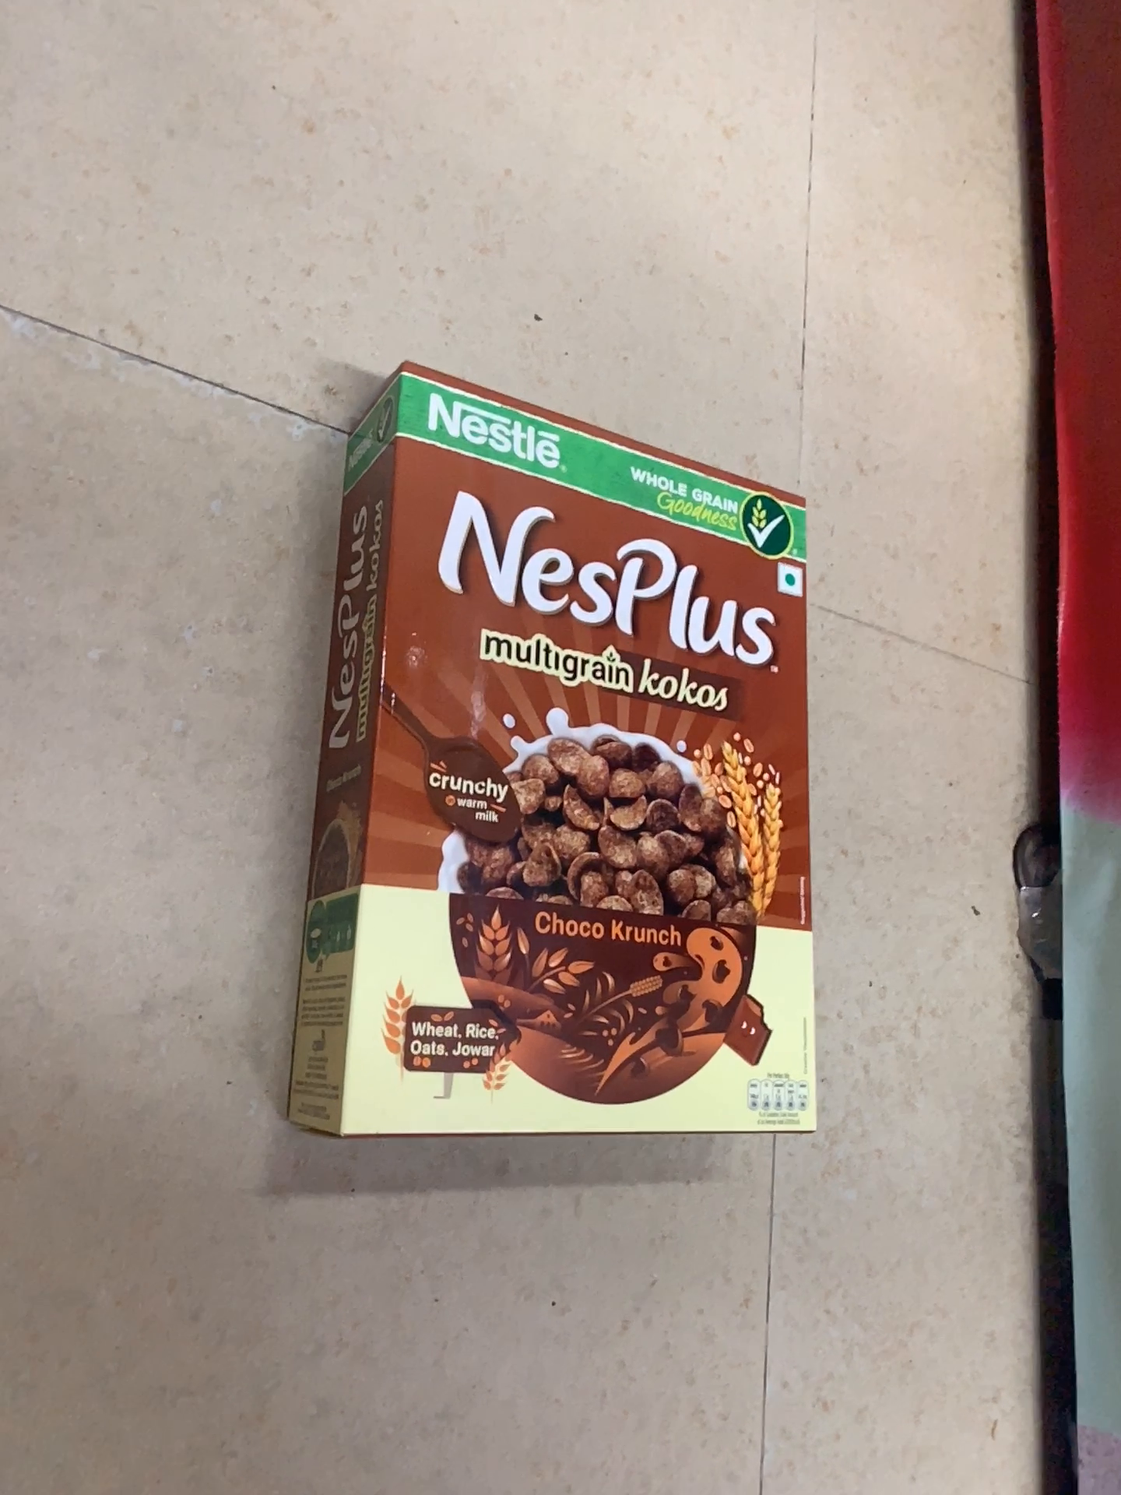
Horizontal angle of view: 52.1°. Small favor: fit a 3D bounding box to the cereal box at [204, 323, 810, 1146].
[{"bbox_3d":[-0.009,0.009,0.466,0.211,0.090,0.280,11,74,-29],"label":"cereal box"}]
